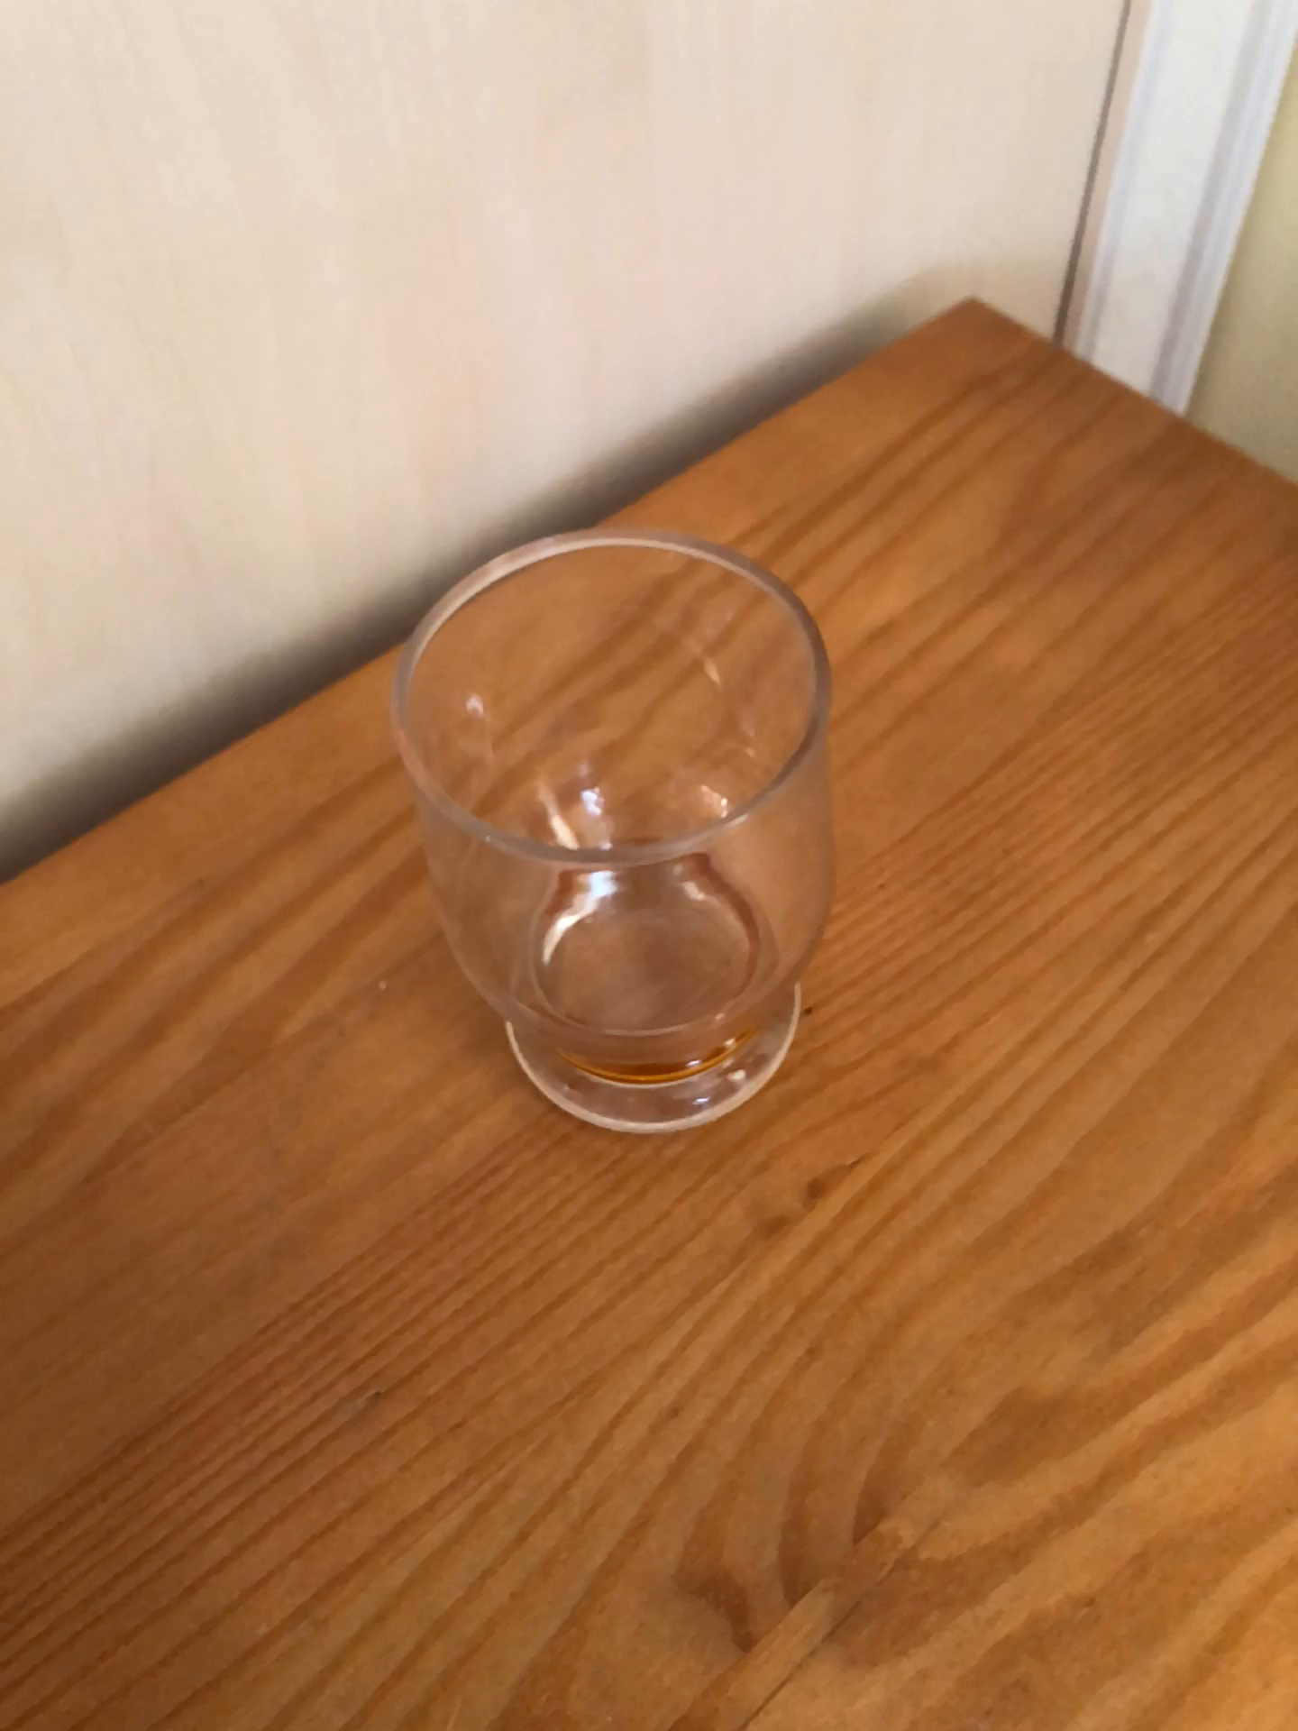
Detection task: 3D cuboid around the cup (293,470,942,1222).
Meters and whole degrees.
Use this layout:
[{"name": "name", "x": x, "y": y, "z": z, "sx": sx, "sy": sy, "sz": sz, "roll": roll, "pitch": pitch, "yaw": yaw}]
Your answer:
[{"name": "cup", "x": -0.001, "y": -0.001, "z": 0.268, "sx": 0.076, "sy": 0.099, "sz": 0.074, "roll": -2, "pitch": 55, "yaw": 2}]
